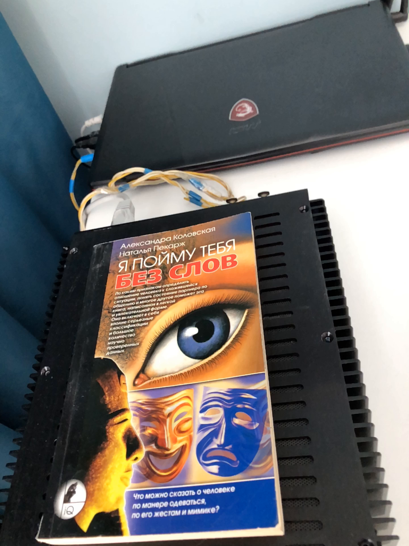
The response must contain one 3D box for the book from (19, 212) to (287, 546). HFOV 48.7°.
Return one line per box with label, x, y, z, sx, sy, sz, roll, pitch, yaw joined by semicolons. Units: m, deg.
book;-0.025;0.049;0.264;0.123;0.023;0.184;-10;51;13
